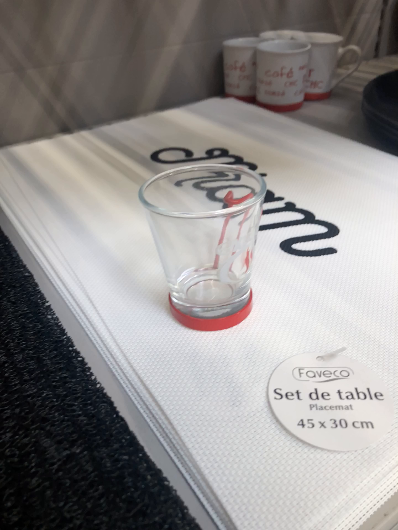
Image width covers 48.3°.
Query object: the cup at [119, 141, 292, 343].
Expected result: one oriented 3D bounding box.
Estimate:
[{"bbox_3d":[0.011,-0.019,0.230,0.056,0.063,0.093,6,34,20],"label":"cup"}]
